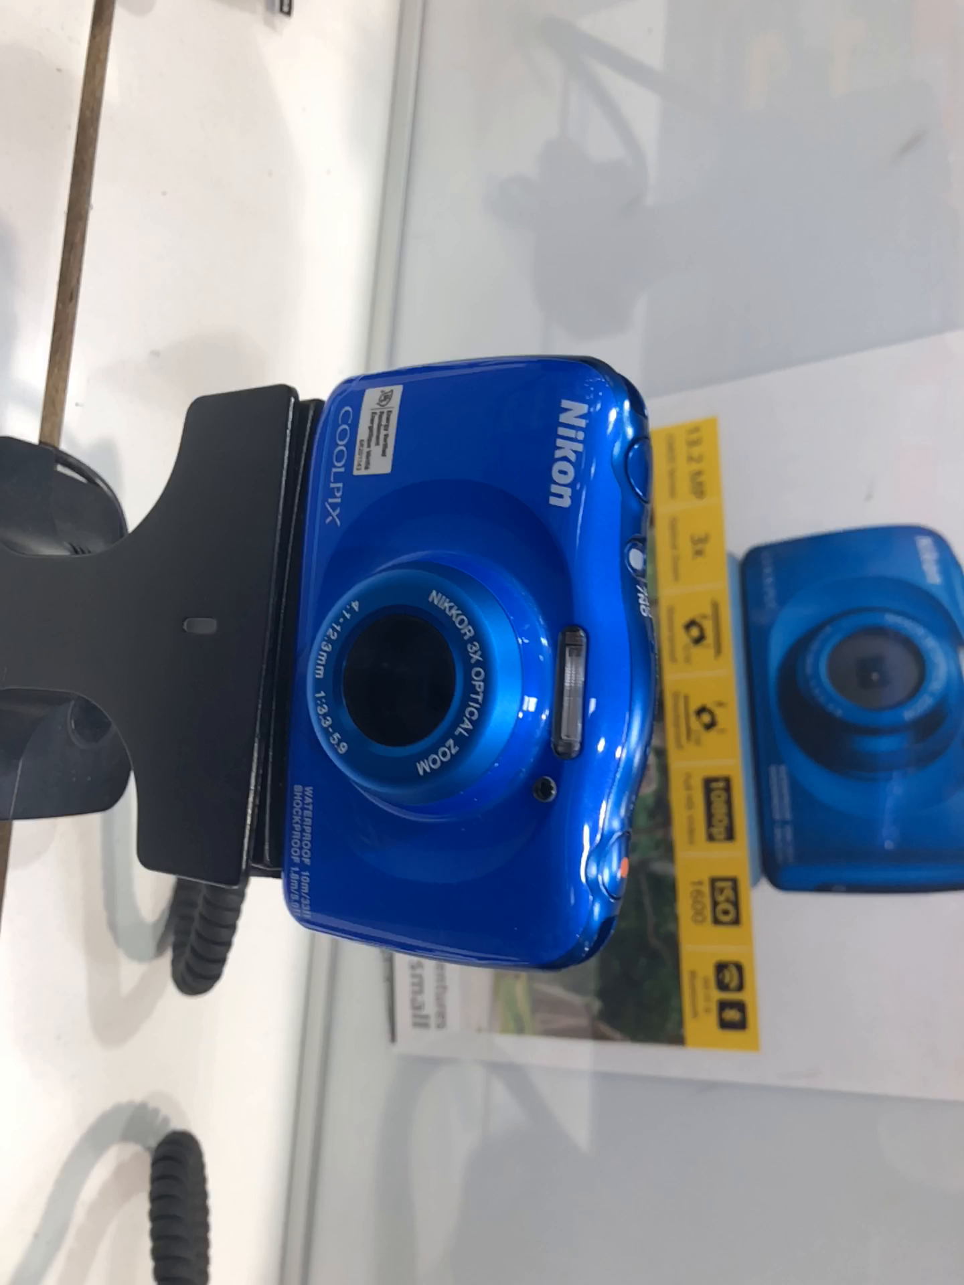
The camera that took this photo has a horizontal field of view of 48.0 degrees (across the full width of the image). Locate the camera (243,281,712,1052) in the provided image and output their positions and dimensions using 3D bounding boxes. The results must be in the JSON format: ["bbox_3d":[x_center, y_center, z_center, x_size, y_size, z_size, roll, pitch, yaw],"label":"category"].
[{"bbox_3d":[0.002,0.004,0.220,0.050,0.070,0.130,16,77,-61],"label":"camera"}]
